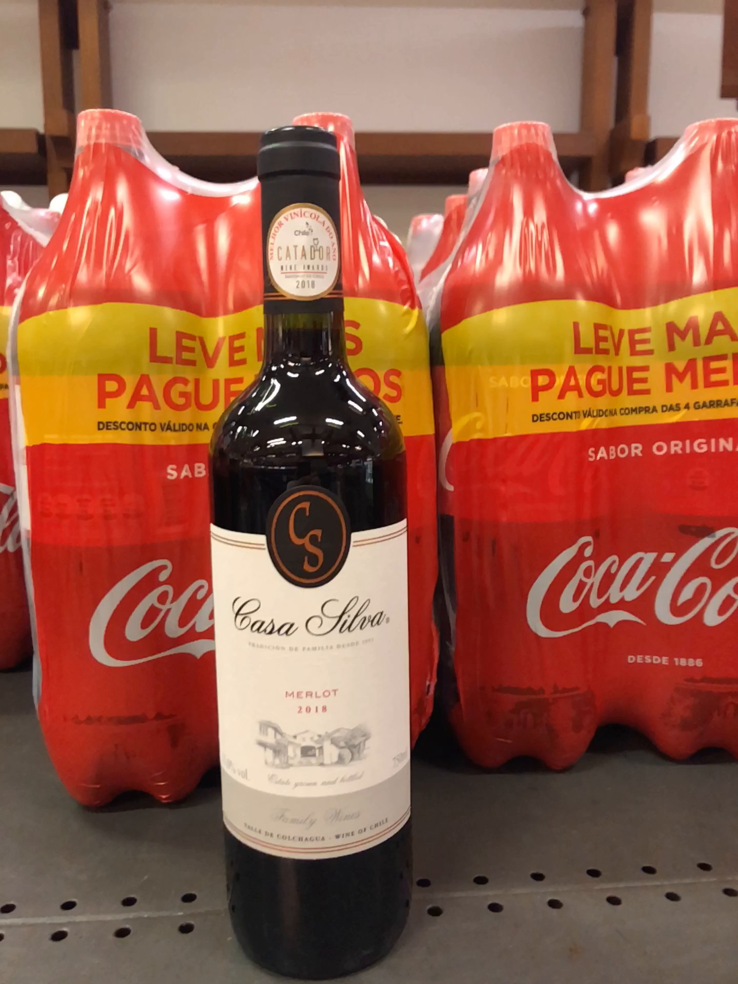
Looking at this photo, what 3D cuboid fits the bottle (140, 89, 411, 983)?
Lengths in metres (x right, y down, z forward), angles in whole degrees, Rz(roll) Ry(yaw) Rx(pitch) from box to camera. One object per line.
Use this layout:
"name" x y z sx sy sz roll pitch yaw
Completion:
"bottle" -0.029 0.028 0.301 0.080 0.309 0.070 -1 9 -4
